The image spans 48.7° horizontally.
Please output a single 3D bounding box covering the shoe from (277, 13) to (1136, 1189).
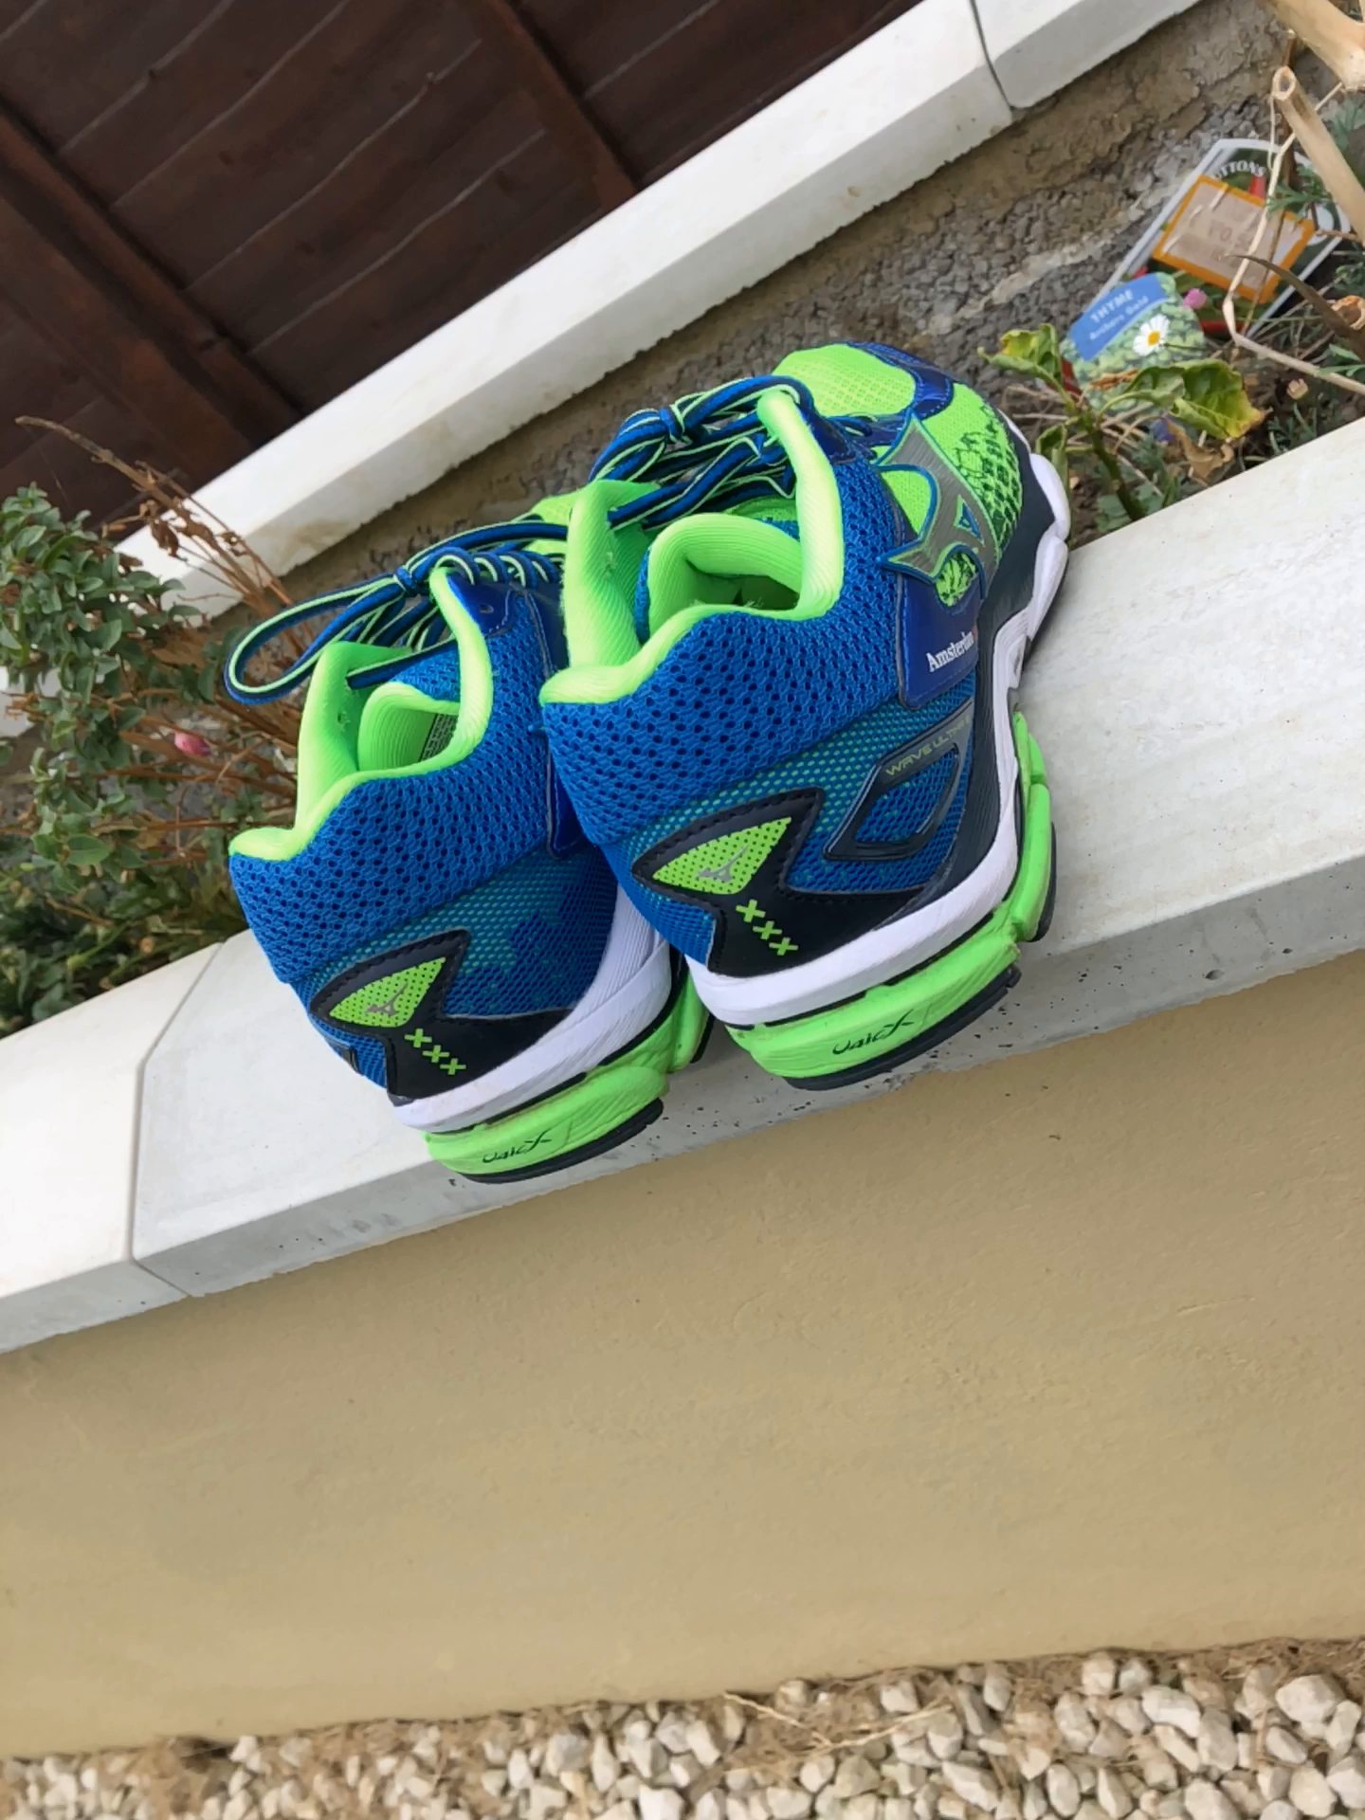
[{"bbox_3d":[0.023,-0.096,0.380,0.110,0.119,0.291,-23,37,28],"label":"shoe"}]

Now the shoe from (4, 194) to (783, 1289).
[{"bbox_3d":[-0.061,-0.065,0.422,0.110,0.119,0.292,-28,38,22],"label":"shoe"}]
